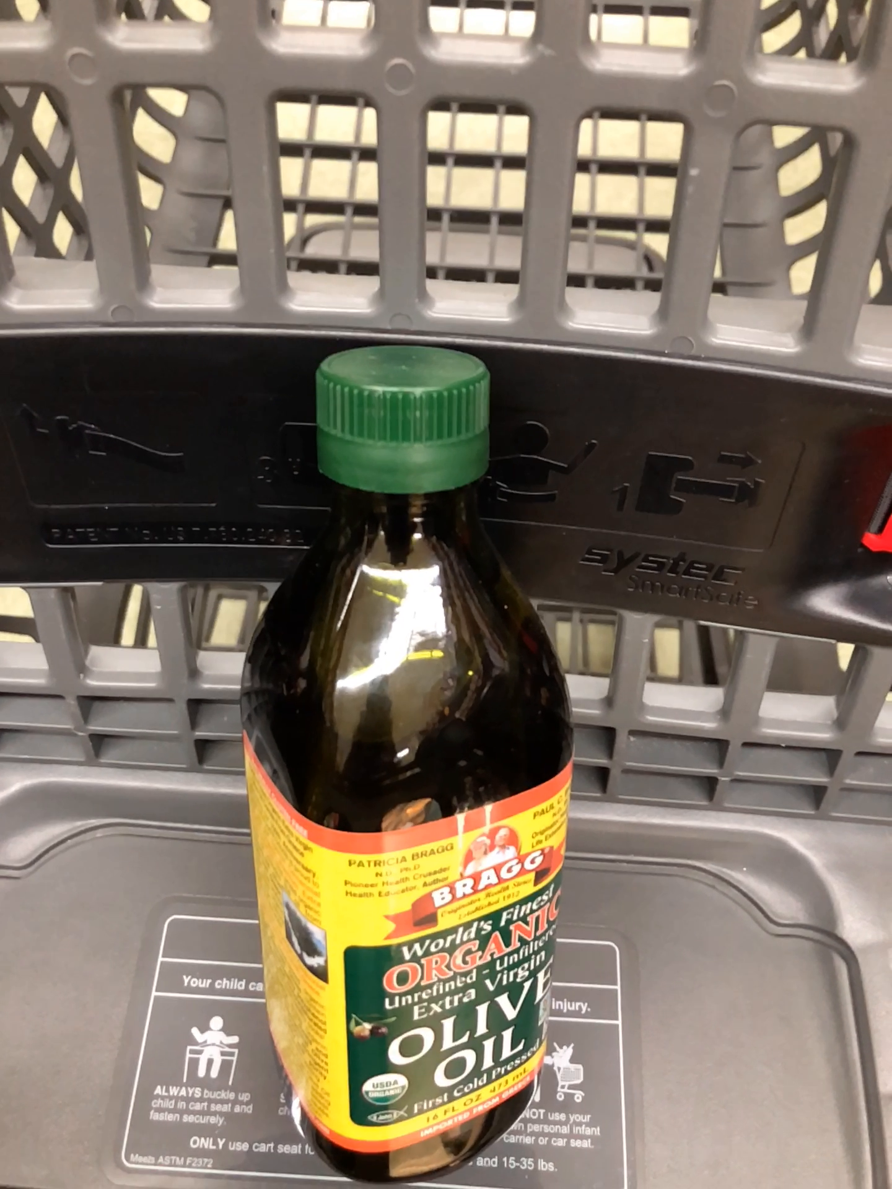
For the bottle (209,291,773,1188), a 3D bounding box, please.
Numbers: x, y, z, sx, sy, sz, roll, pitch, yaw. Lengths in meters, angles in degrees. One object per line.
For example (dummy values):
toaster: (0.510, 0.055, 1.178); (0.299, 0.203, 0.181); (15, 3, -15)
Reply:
bottle: (0.001, 0.037, 0.229); (0.080, 0.192, 0.070); (-12, 31, -27)
